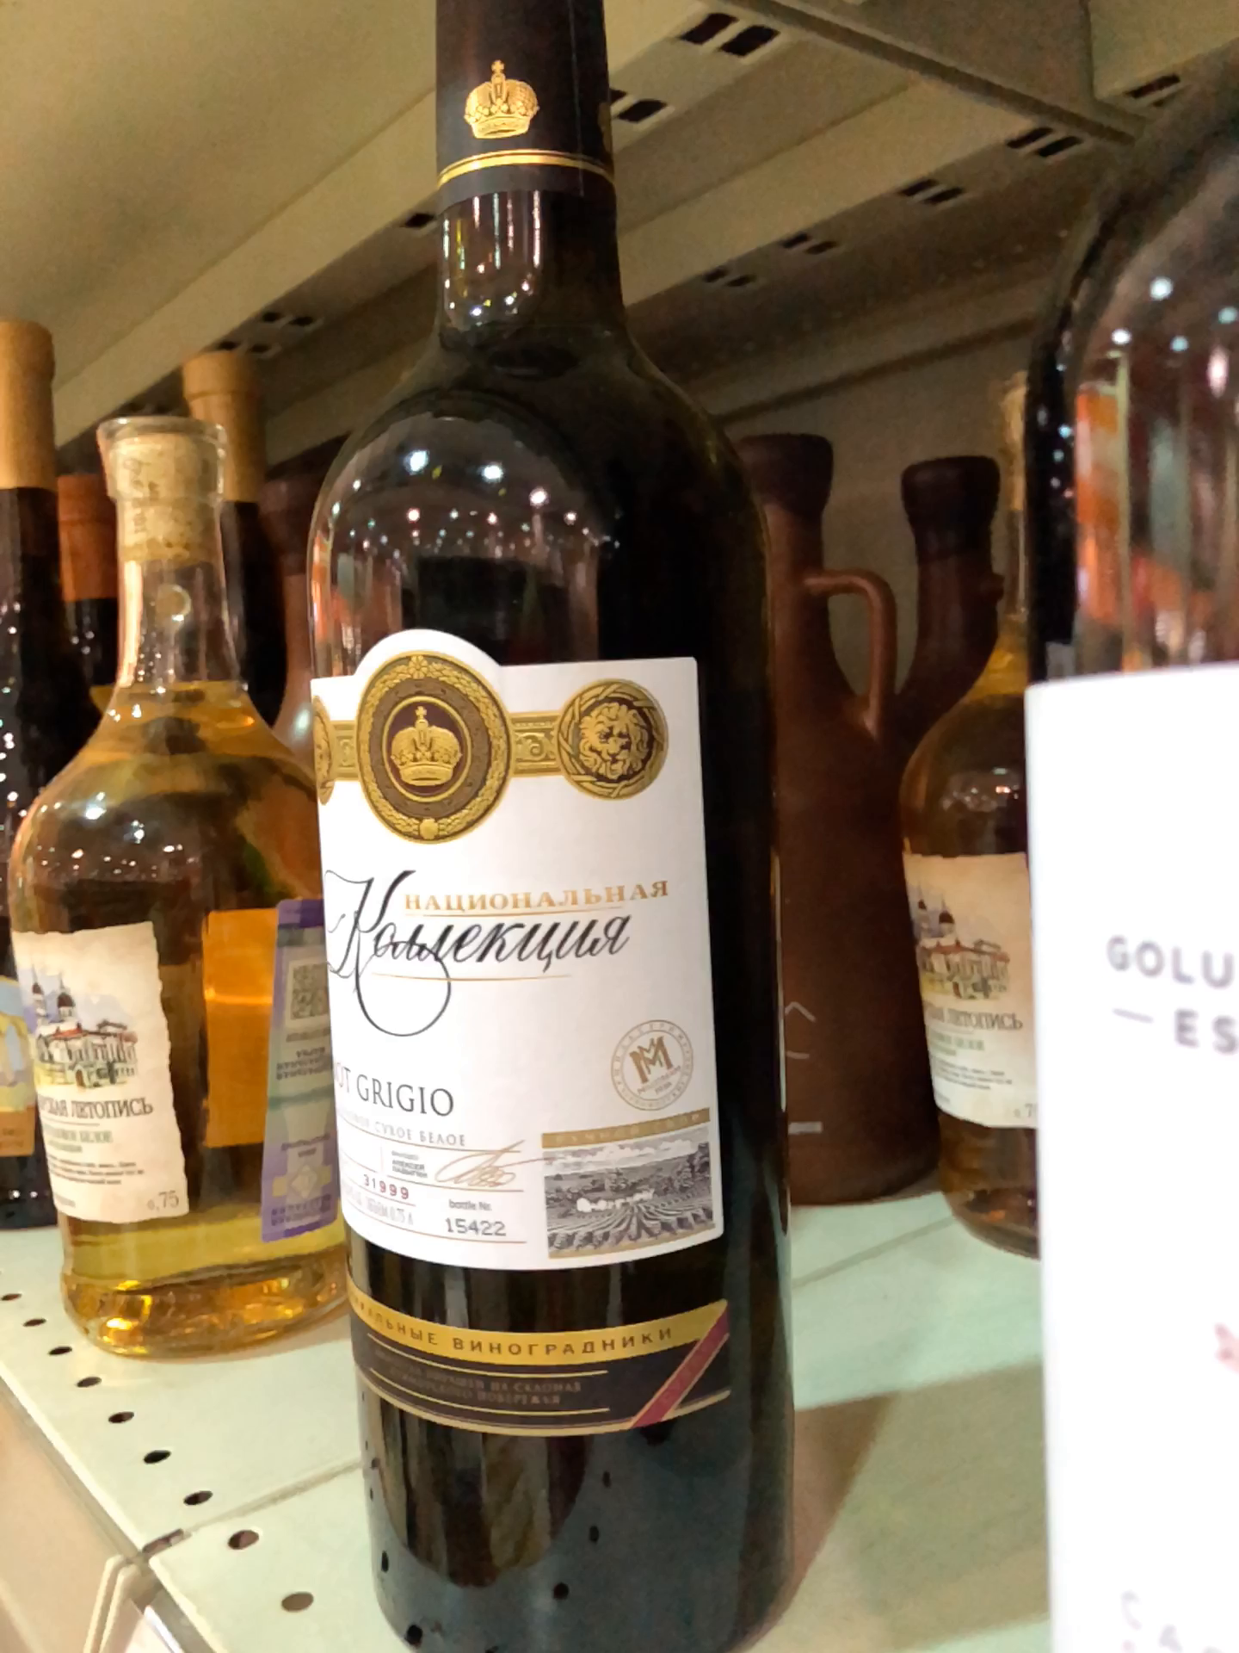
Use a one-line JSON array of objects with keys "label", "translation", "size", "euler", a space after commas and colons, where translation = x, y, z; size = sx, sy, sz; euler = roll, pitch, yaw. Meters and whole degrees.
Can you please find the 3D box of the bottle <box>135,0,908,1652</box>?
[{"label": "bottle", "translation": [-0.010, -0.023, 0.251], "size": [0.090, 0.320, 0.090], "euler": [-3, 3, 0]}]
